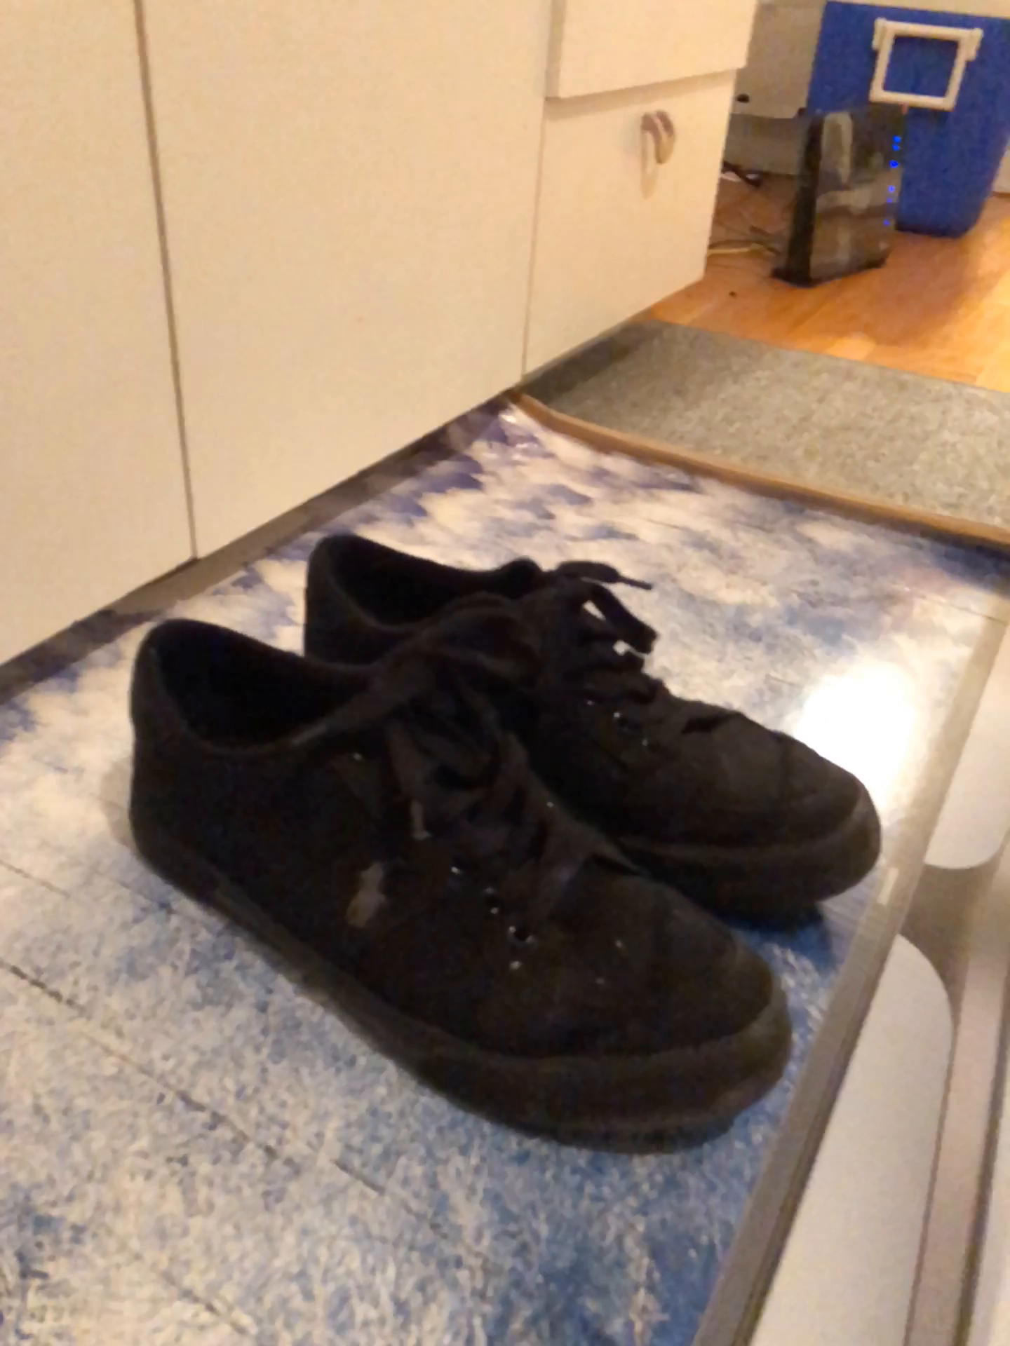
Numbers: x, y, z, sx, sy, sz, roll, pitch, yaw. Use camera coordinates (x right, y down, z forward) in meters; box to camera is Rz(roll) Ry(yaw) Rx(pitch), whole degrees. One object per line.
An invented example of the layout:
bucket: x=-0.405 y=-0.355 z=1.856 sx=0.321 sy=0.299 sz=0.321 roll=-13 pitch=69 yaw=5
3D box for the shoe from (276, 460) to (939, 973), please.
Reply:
shoe: x=0.037 y=0.005 z=0.496 sx=0.261 sy=0.109 sz=0.111 roll=21 pitch=37 yaw=23

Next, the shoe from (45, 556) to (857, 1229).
shoe: x=-0.027 y=0.064 z=0.418 sx=0.271 sy=0.109 sz=0.111 roll=21 pitch=37 yaw=23
